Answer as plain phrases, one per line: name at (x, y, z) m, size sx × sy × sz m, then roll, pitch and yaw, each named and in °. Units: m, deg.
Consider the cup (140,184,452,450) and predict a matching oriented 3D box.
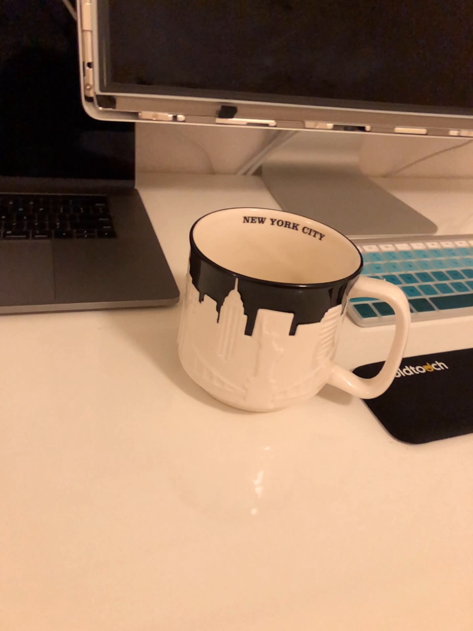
cup at (0.033, -0.006, 0.323) m, size 0.150 × 0.089 × 0.111 m, roll 12°, pitch 33°, yaw 5°
